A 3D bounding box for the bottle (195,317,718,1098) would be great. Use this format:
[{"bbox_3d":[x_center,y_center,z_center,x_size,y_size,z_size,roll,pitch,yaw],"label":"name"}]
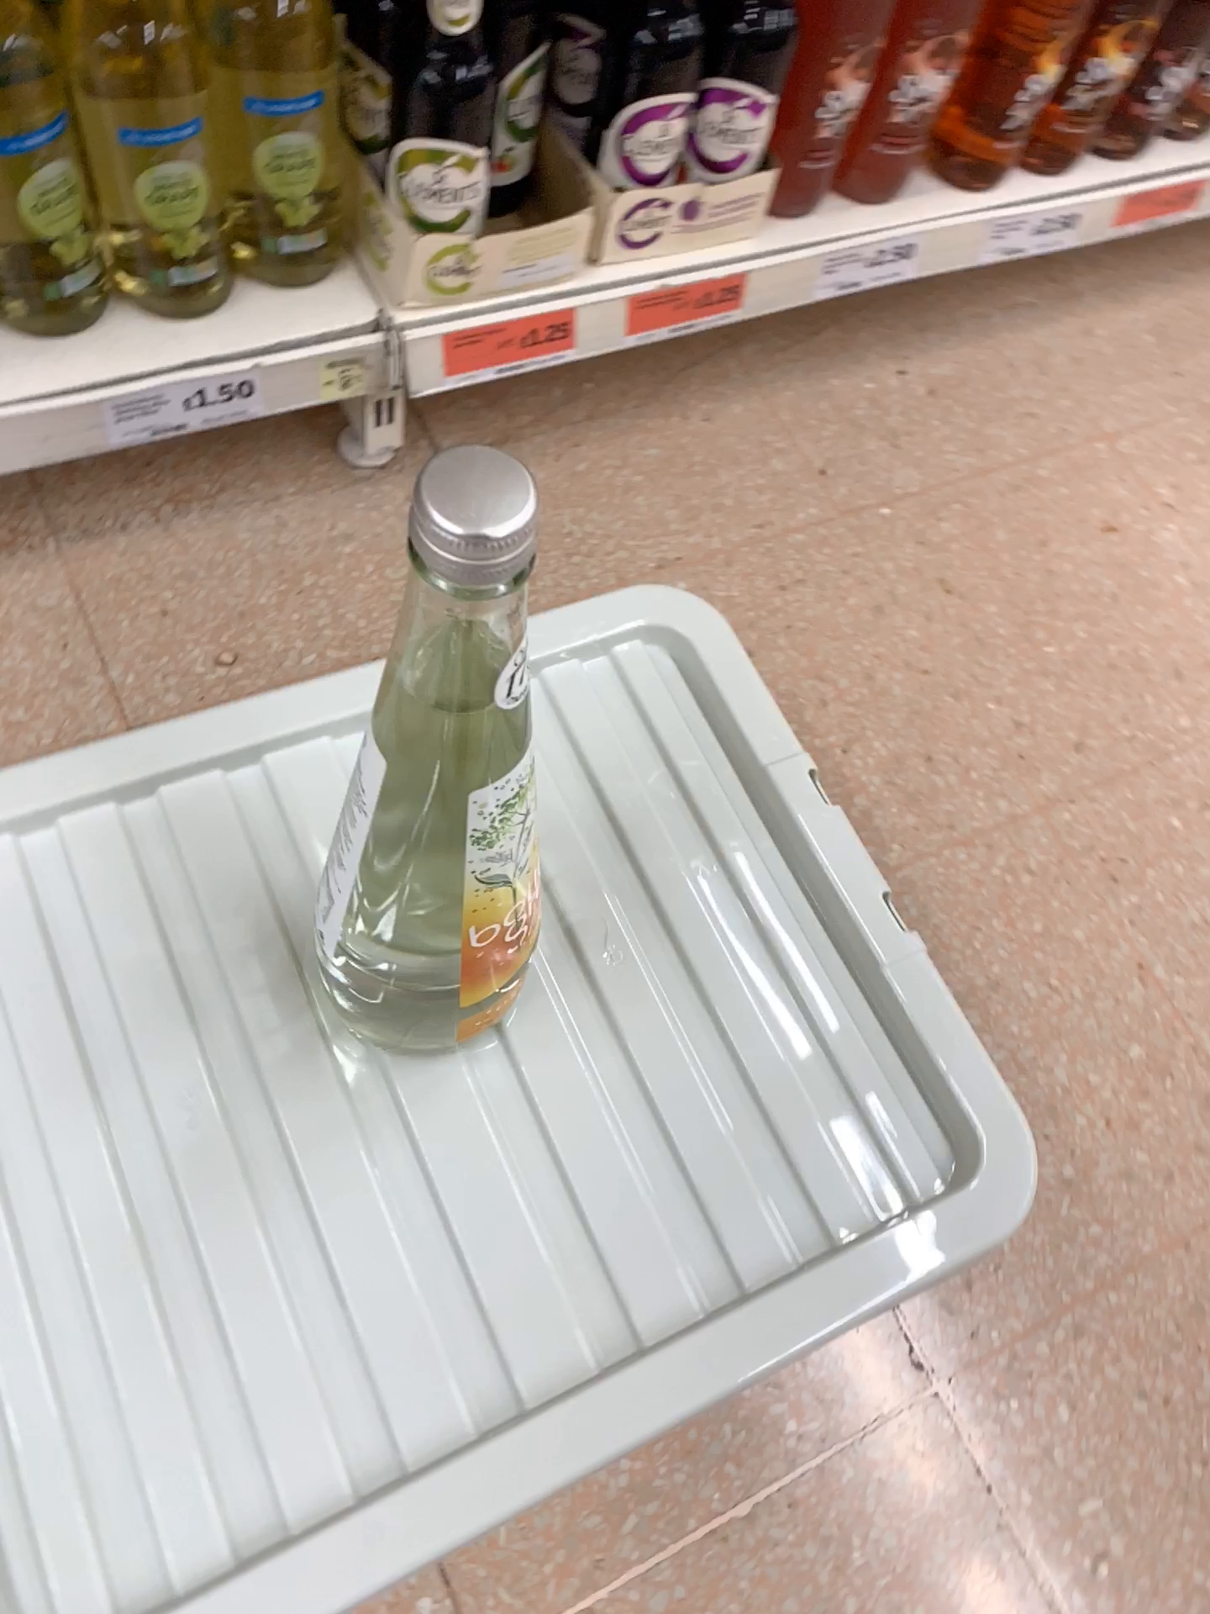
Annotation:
[{"bbox_3d":[-0.052,0.001,0.398,0.090,0.288,0.091,4,62,-9],"label":"bottle"}]
